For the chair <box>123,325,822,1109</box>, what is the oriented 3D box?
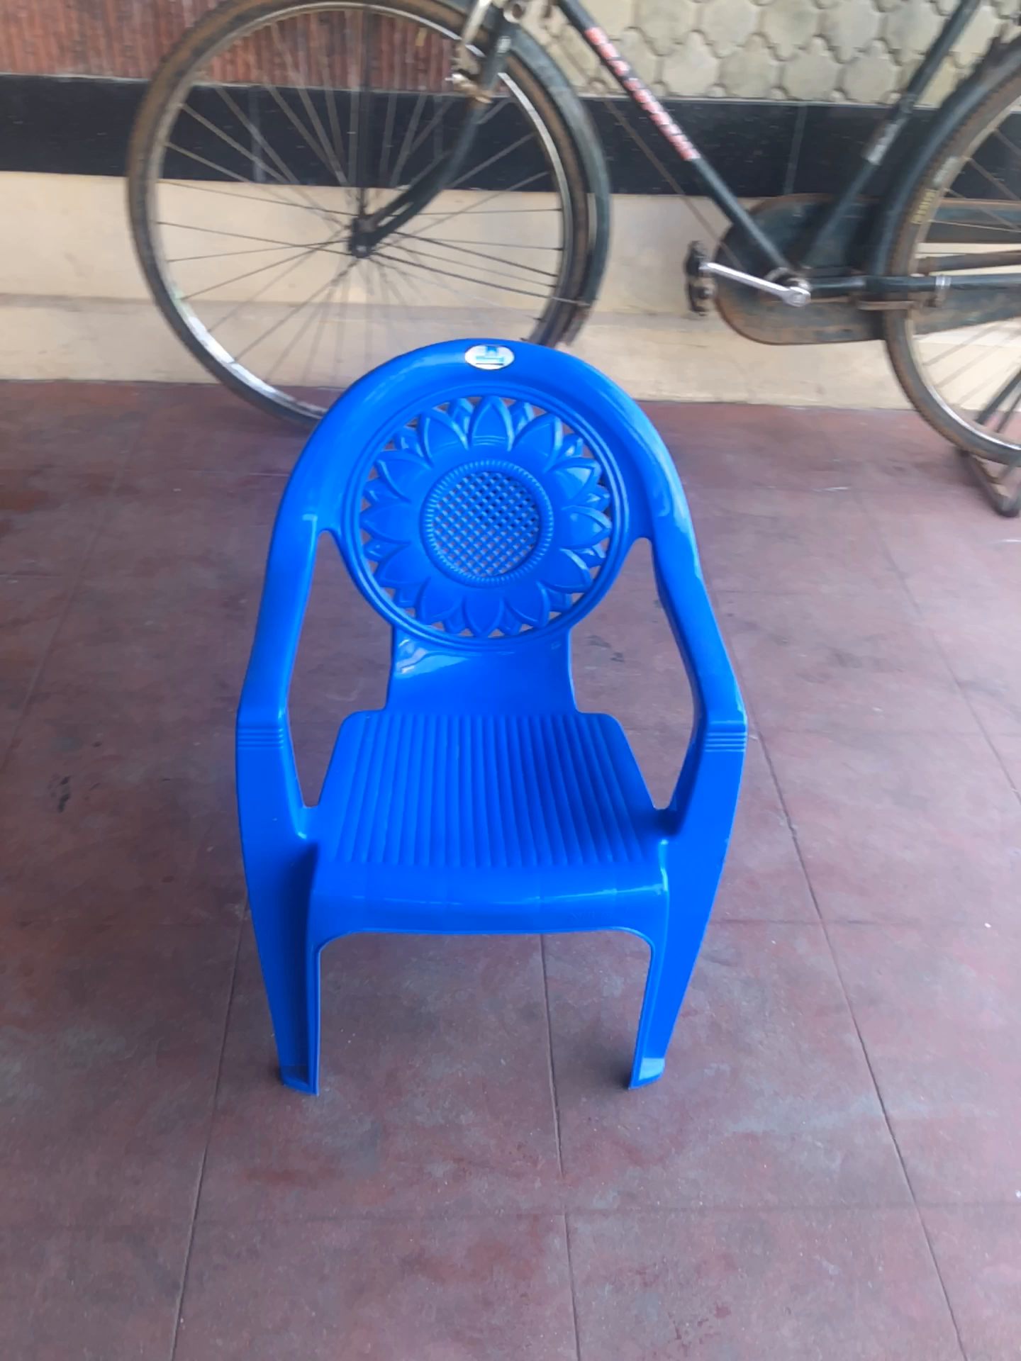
[{"bbox_3d":[-0.036,0.030,0.974,0.400,0.497,0.452,1,40,-3],"label":"chair"}]
